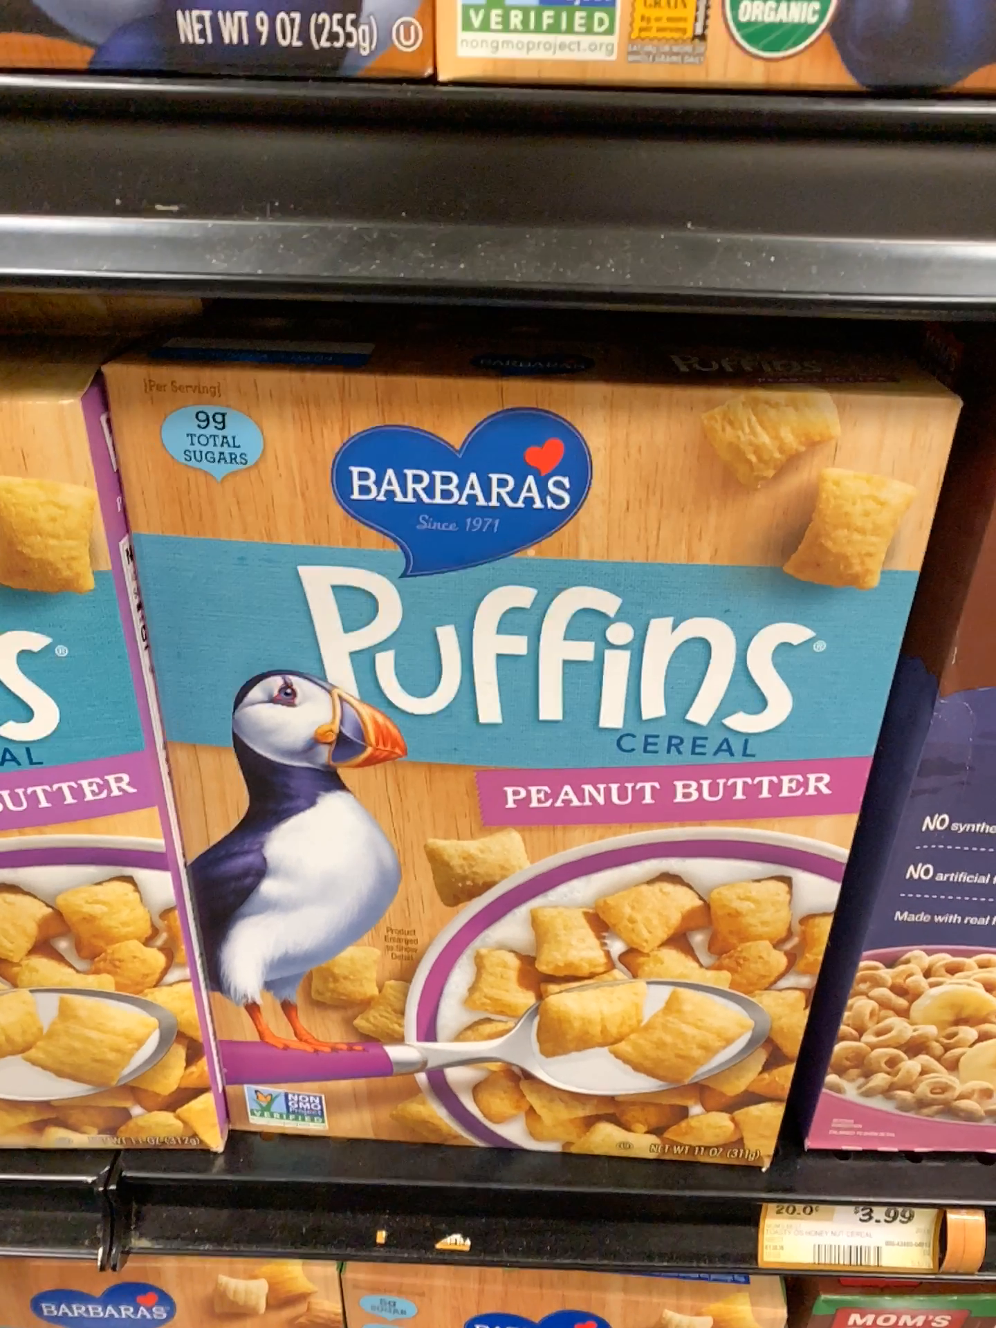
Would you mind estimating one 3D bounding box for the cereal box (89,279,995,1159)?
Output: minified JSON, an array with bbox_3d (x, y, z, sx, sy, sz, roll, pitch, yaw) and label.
[{"bbox_3d":[0.006,0.027,0.317,0.200,0.259,0.070,3,27,2],"label":"cereal box"}]
